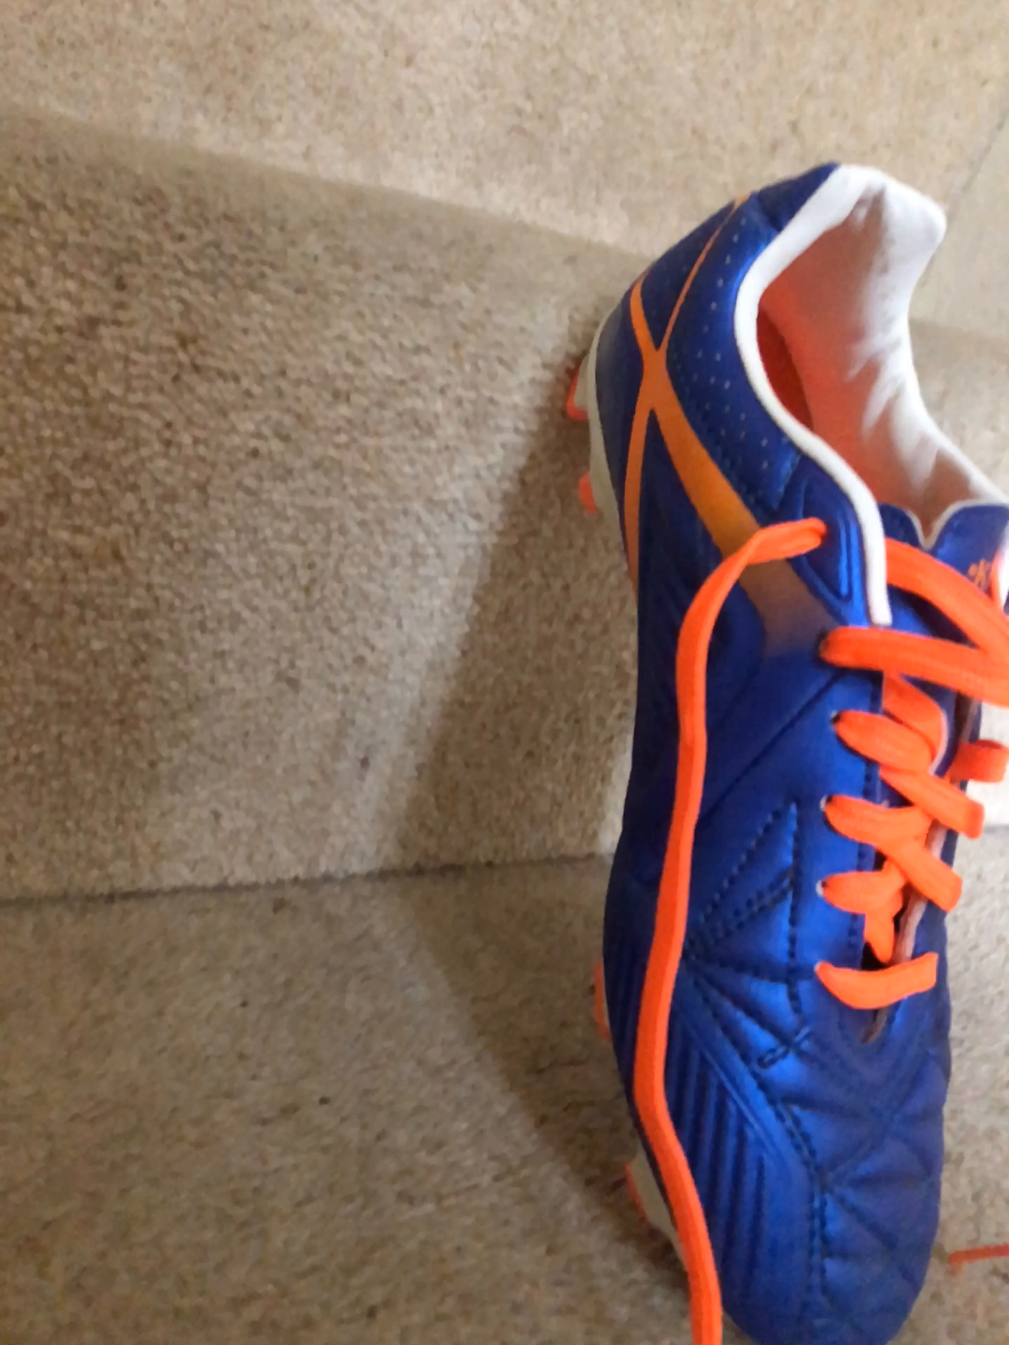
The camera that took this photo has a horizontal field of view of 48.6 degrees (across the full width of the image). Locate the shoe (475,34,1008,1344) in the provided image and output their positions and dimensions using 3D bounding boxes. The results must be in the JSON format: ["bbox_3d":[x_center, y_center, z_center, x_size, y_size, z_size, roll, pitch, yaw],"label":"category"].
[{"bbox_3d":[0.052,0.004,0.224,0.070,0.211,0.099,7,-20,-28],"label":"shoe"}]
